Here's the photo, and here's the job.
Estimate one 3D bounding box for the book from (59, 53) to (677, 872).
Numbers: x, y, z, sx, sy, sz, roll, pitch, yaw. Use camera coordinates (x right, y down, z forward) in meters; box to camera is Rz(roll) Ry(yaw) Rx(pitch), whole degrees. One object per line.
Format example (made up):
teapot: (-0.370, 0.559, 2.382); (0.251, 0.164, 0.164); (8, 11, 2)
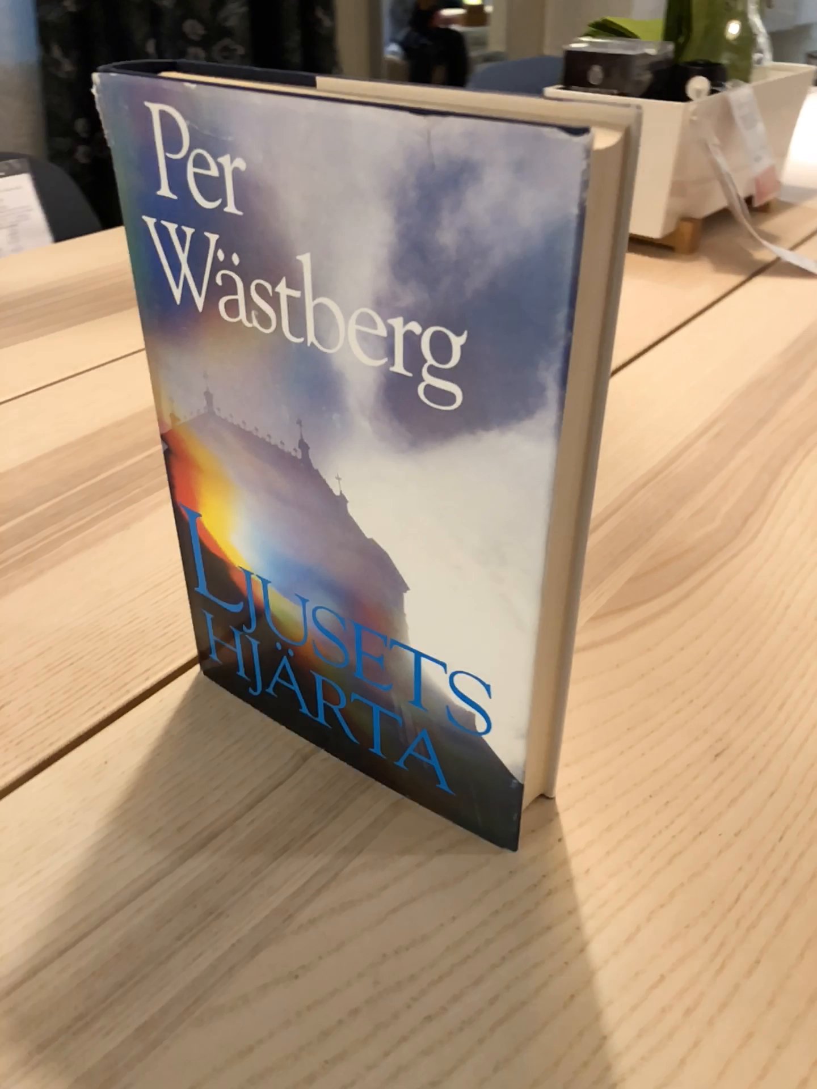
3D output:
book: (-0.020, -0.024, 0.289); (0.166, 0.221, 0.042); (23, 39, 30)
